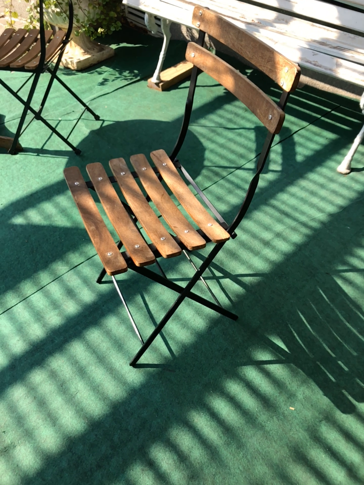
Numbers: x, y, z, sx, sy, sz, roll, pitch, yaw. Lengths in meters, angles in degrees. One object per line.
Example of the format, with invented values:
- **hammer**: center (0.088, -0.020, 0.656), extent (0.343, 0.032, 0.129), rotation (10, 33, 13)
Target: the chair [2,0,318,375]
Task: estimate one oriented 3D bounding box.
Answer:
- **chair**: center (-0.060, -0.104, 0.894), extent (0.401, 0.656, 0.392), rotation (-19, 49, -17)
